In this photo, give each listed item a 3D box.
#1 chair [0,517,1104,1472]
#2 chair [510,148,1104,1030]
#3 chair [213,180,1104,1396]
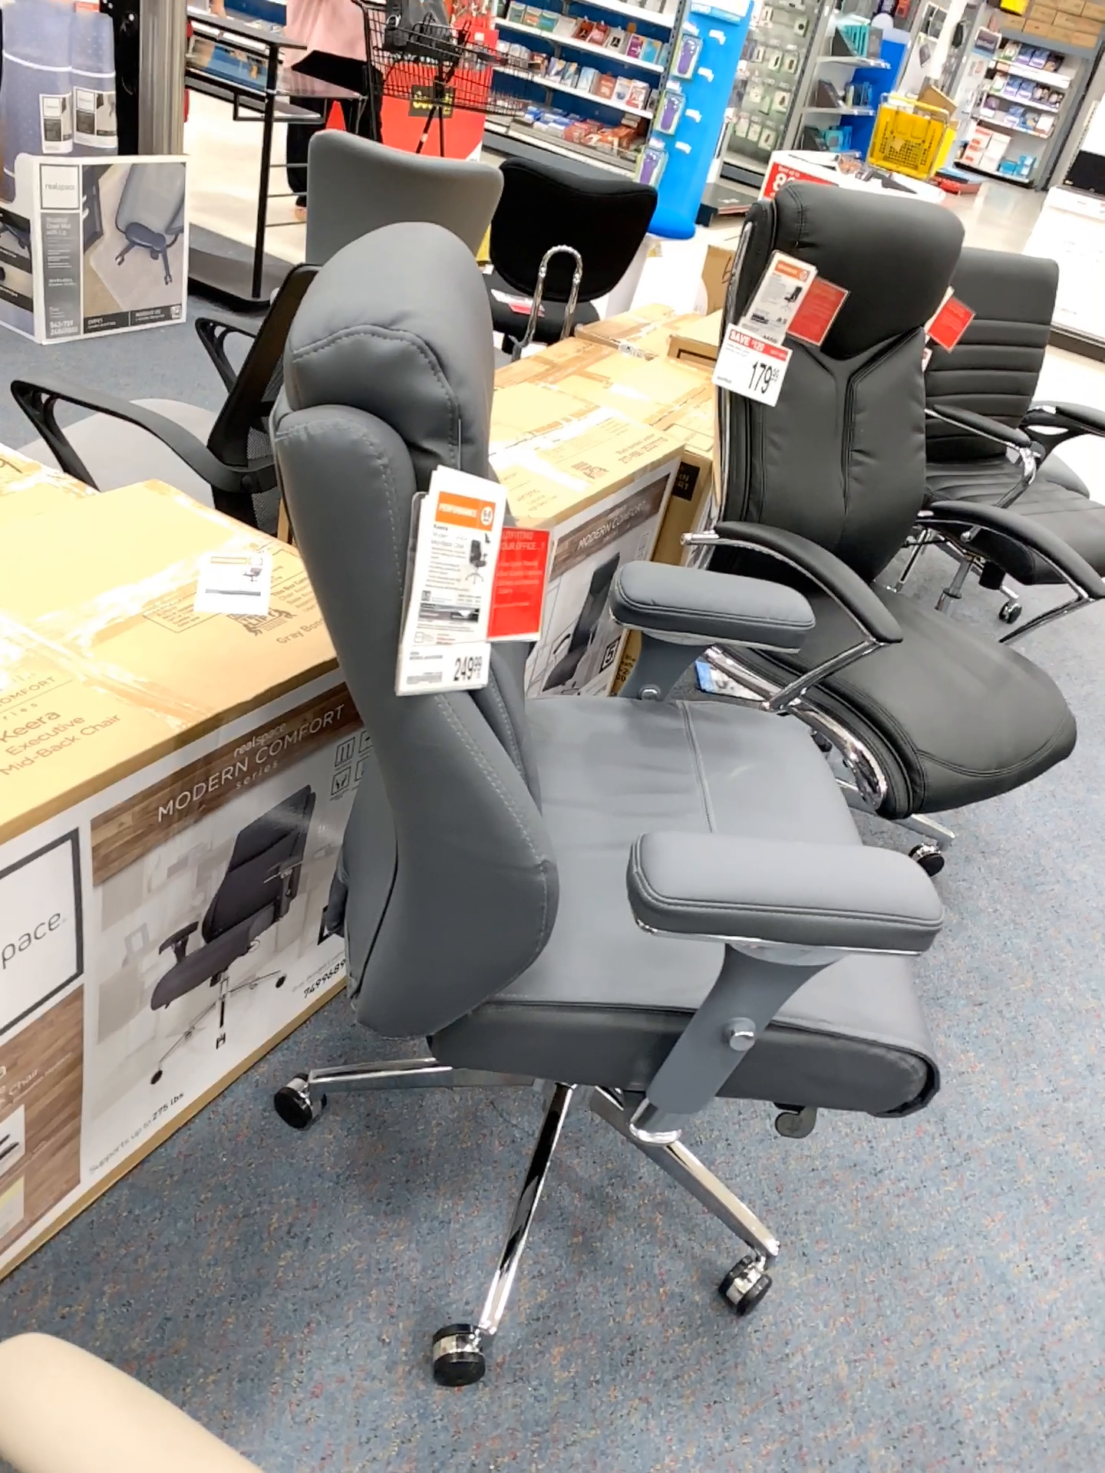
[{"bbox_3d":[-0.433,0.607,0.365,0.715,0.976,0.788,28,35,18],"label":"chair"},{"bbox_3d":[0.562,-0.271,1.939,0.766,1.095,0.786,-13,43,-36],"label":"chair"},{"bbox_3d":[0.061,0.077,1.255,0.694,1.076,0.697,7,30,-12],"label":"chair"}]
